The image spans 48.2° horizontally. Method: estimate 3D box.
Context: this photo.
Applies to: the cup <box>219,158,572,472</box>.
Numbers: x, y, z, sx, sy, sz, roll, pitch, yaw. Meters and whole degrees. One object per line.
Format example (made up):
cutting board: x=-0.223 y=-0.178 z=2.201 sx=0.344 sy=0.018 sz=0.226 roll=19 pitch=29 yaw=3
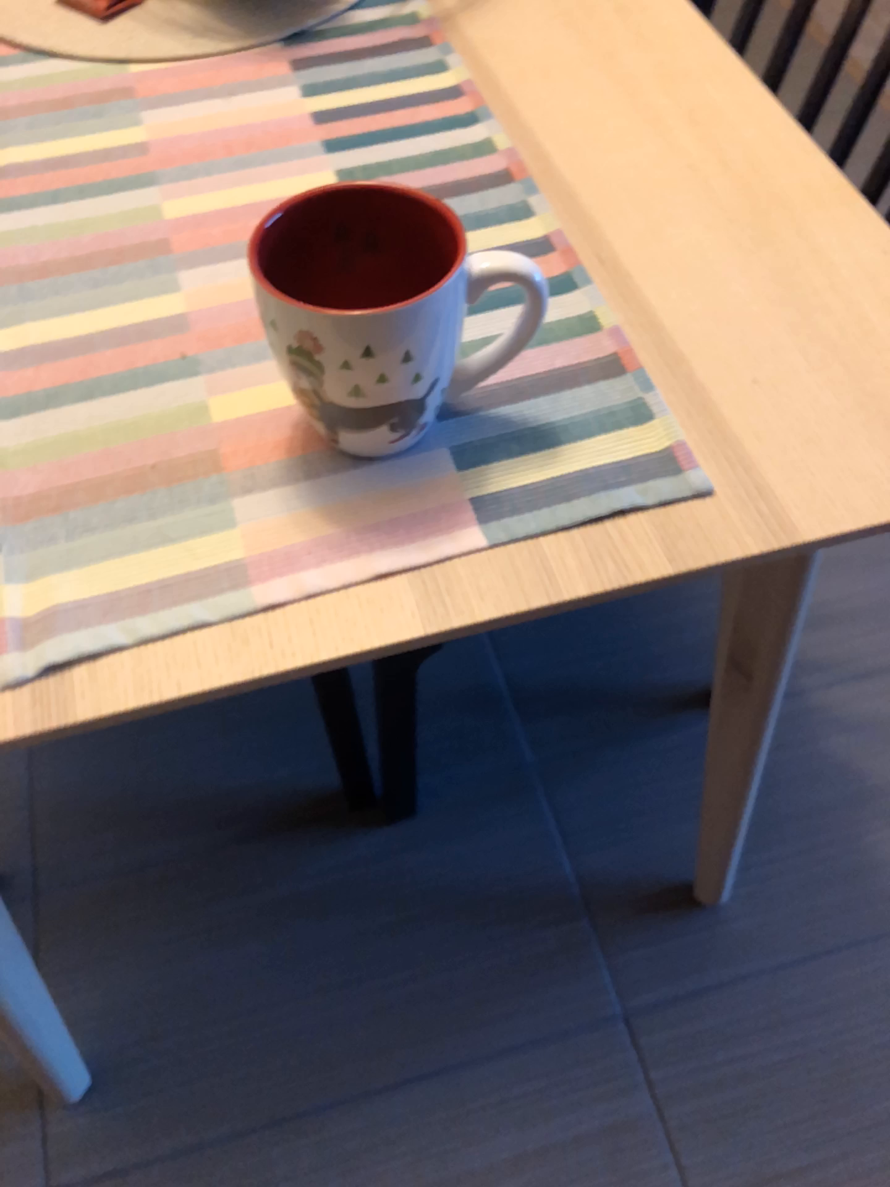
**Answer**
cup: x=-0.022 y=-0.128 z=0.460 sx=0.140 sy=0.090 sz=0.100 roll=-4 pitch=55 yaw=-2
